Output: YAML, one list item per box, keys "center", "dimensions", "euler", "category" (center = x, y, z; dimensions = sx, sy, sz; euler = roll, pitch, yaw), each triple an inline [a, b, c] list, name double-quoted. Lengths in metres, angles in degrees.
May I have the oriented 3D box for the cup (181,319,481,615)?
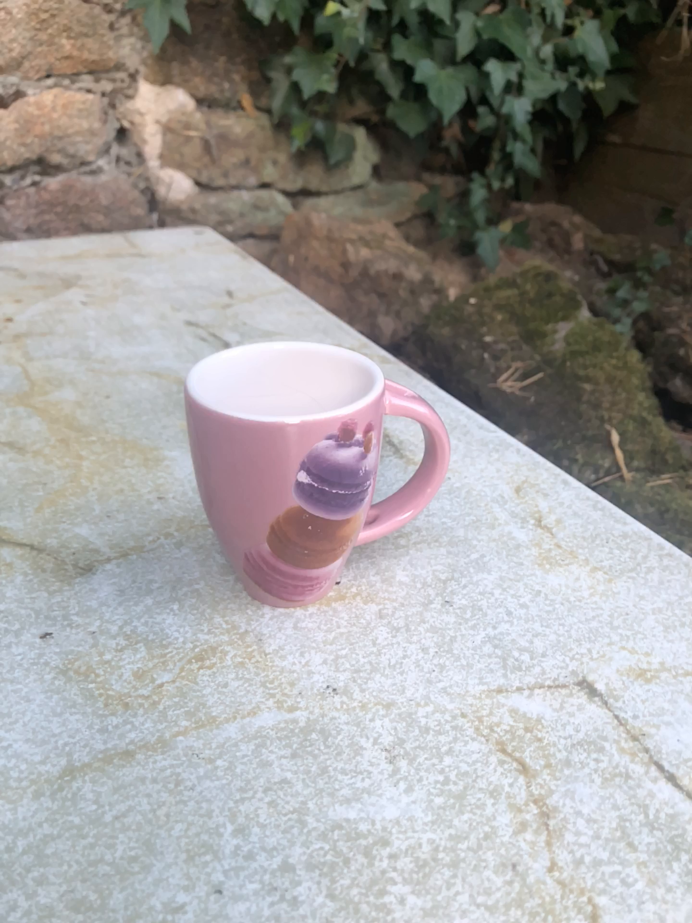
- center: [-0.011, -0.002, 0.309]
  dimensions: [0.099, 0.080, 0.080]
  euler: [-6, 31, -12]
  category: "cup"
